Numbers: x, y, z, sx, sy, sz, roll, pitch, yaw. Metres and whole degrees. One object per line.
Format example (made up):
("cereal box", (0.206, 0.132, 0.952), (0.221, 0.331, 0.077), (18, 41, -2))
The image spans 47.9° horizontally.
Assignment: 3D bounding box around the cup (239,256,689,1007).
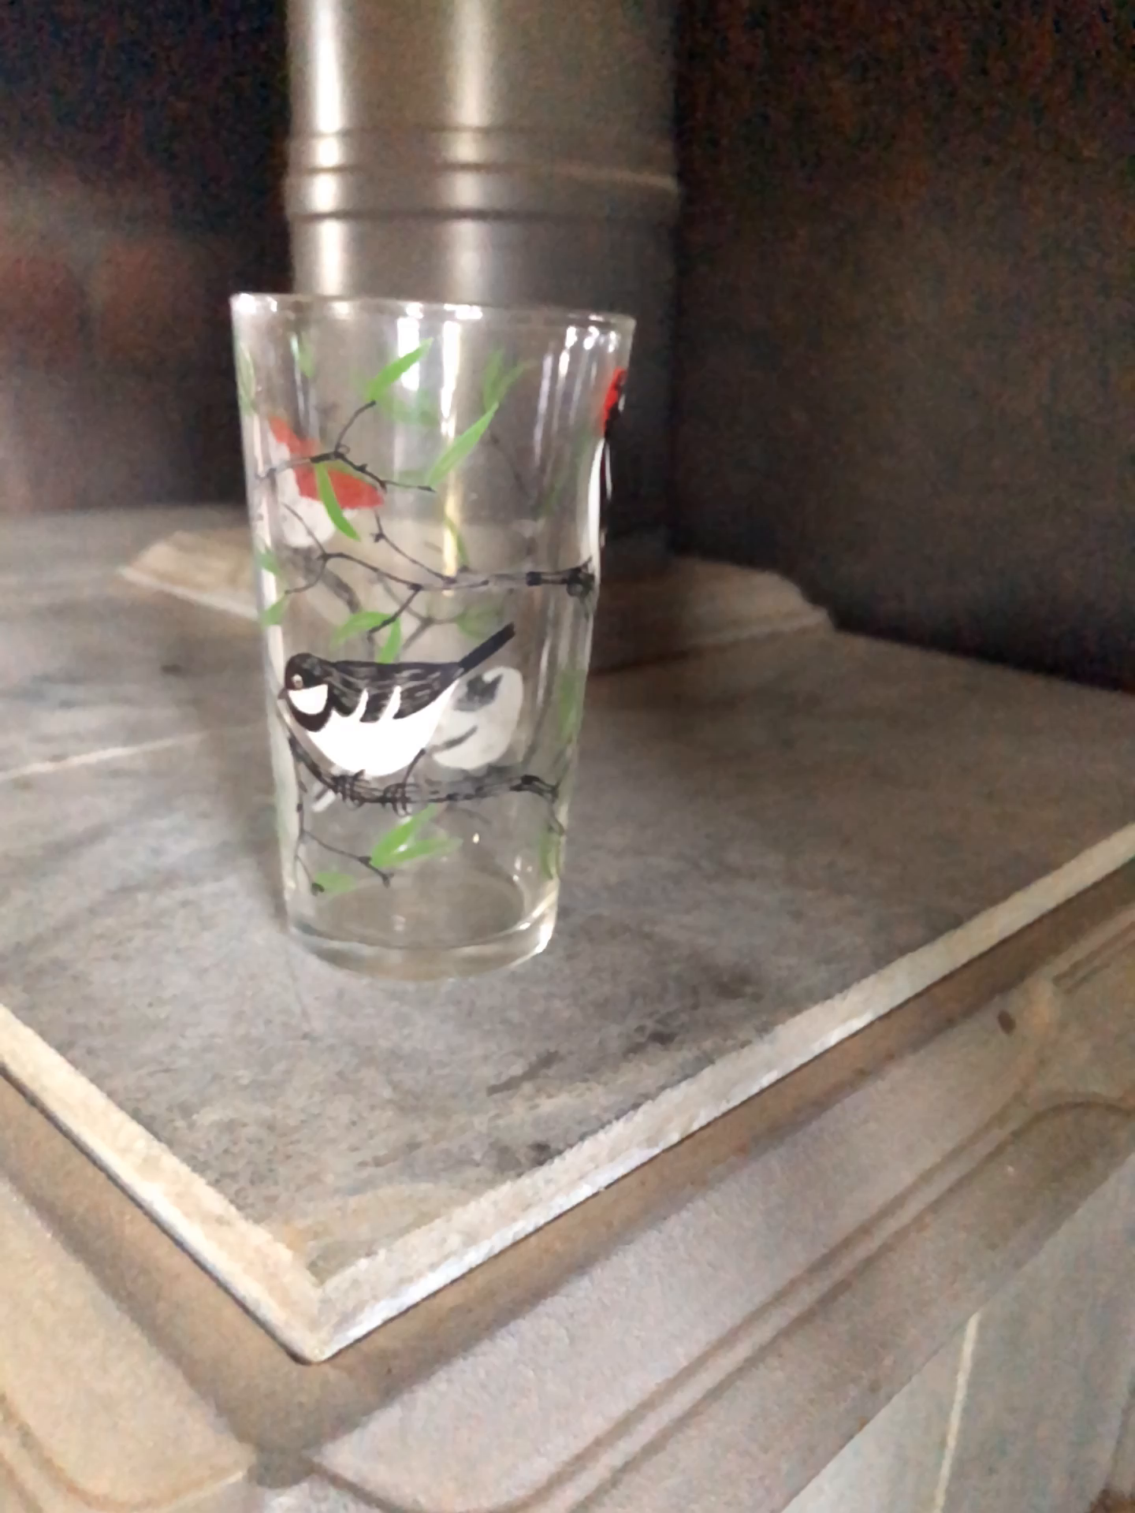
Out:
("cup", (-0.024, -0.025, 0.224), (0.060, 0.110, 0.070), (-2, 18, -17))
